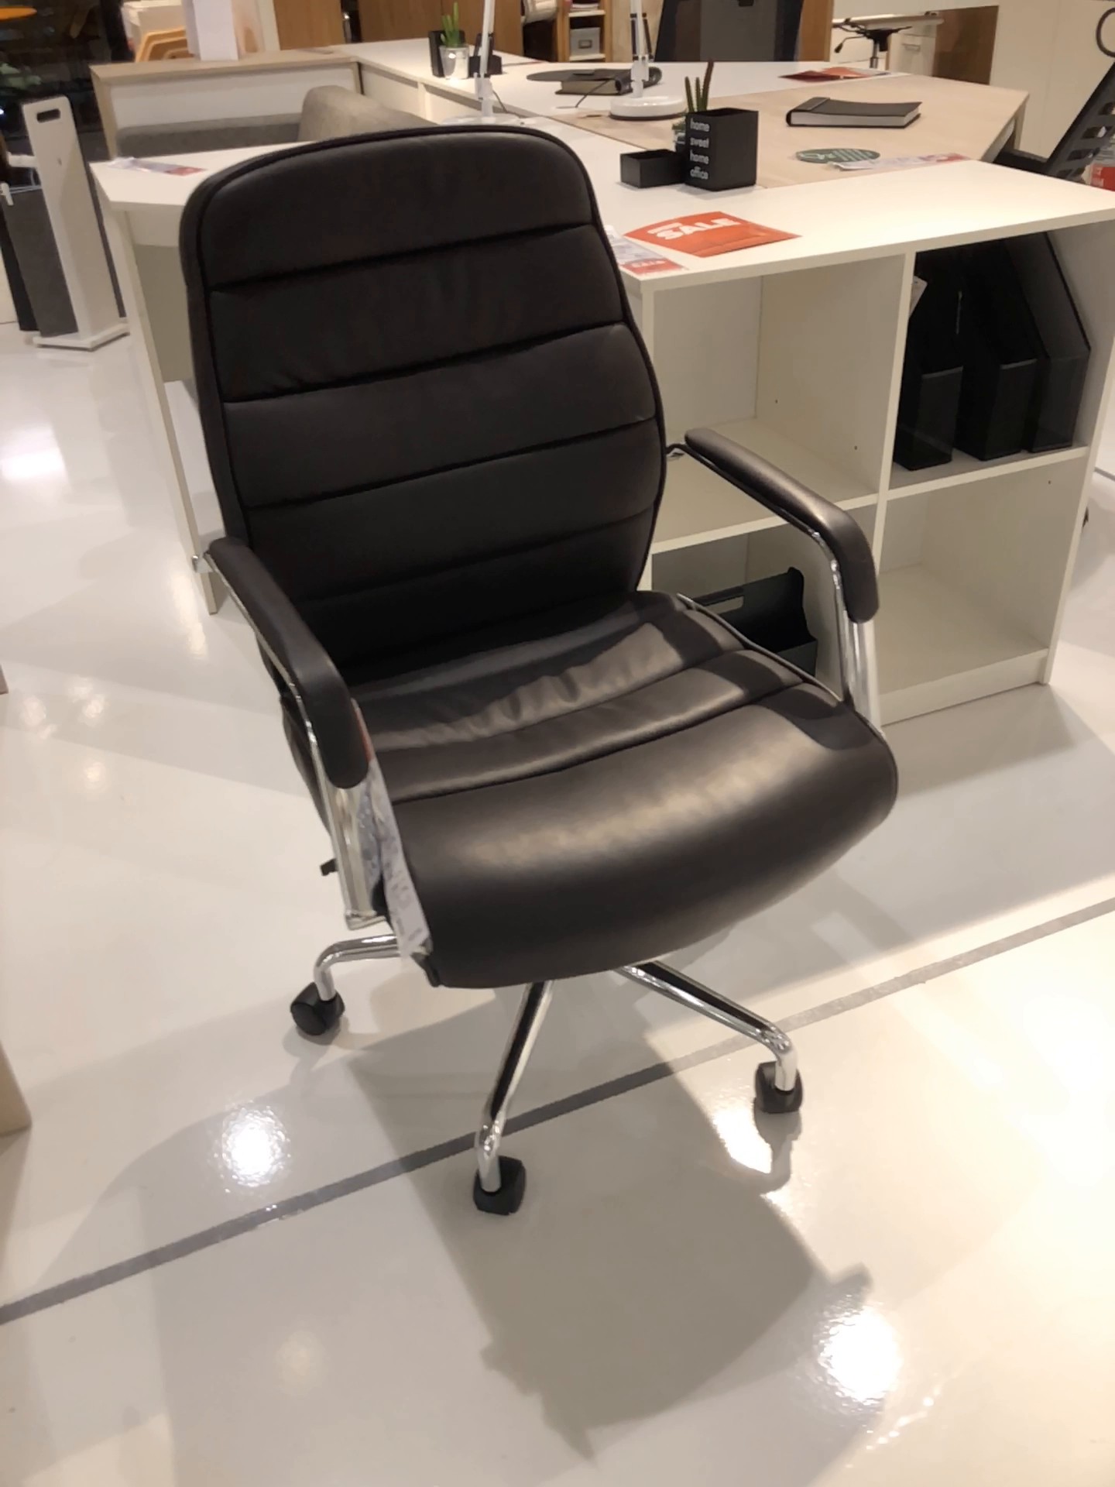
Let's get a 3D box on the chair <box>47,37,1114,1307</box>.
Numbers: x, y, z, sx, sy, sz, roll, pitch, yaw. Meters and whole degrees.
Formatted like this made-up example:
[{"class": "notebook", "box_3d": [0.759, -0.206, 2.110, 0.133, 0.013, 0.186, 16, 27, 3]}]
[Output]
[{"class": "chair", "box_3d": [-0.001, -0.101, 1.216, 0.651, 0.972, 0.574, -17, 36, -20]}]
